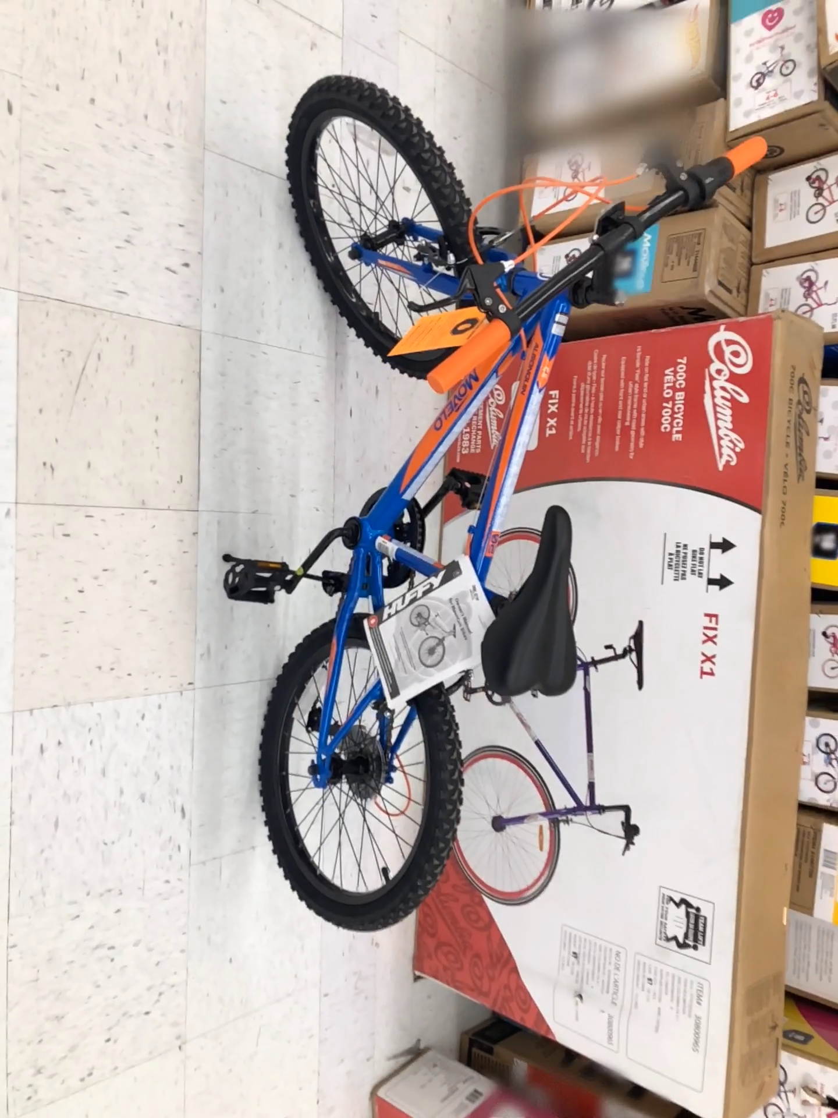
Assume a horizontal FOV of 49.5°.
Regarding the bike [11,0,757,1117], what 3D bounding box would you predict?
[{"bbox_3d":[-0.093,-0.100,1.386,0.587,0.869,1.314,-1,88,-48],"label":"bike"}]
